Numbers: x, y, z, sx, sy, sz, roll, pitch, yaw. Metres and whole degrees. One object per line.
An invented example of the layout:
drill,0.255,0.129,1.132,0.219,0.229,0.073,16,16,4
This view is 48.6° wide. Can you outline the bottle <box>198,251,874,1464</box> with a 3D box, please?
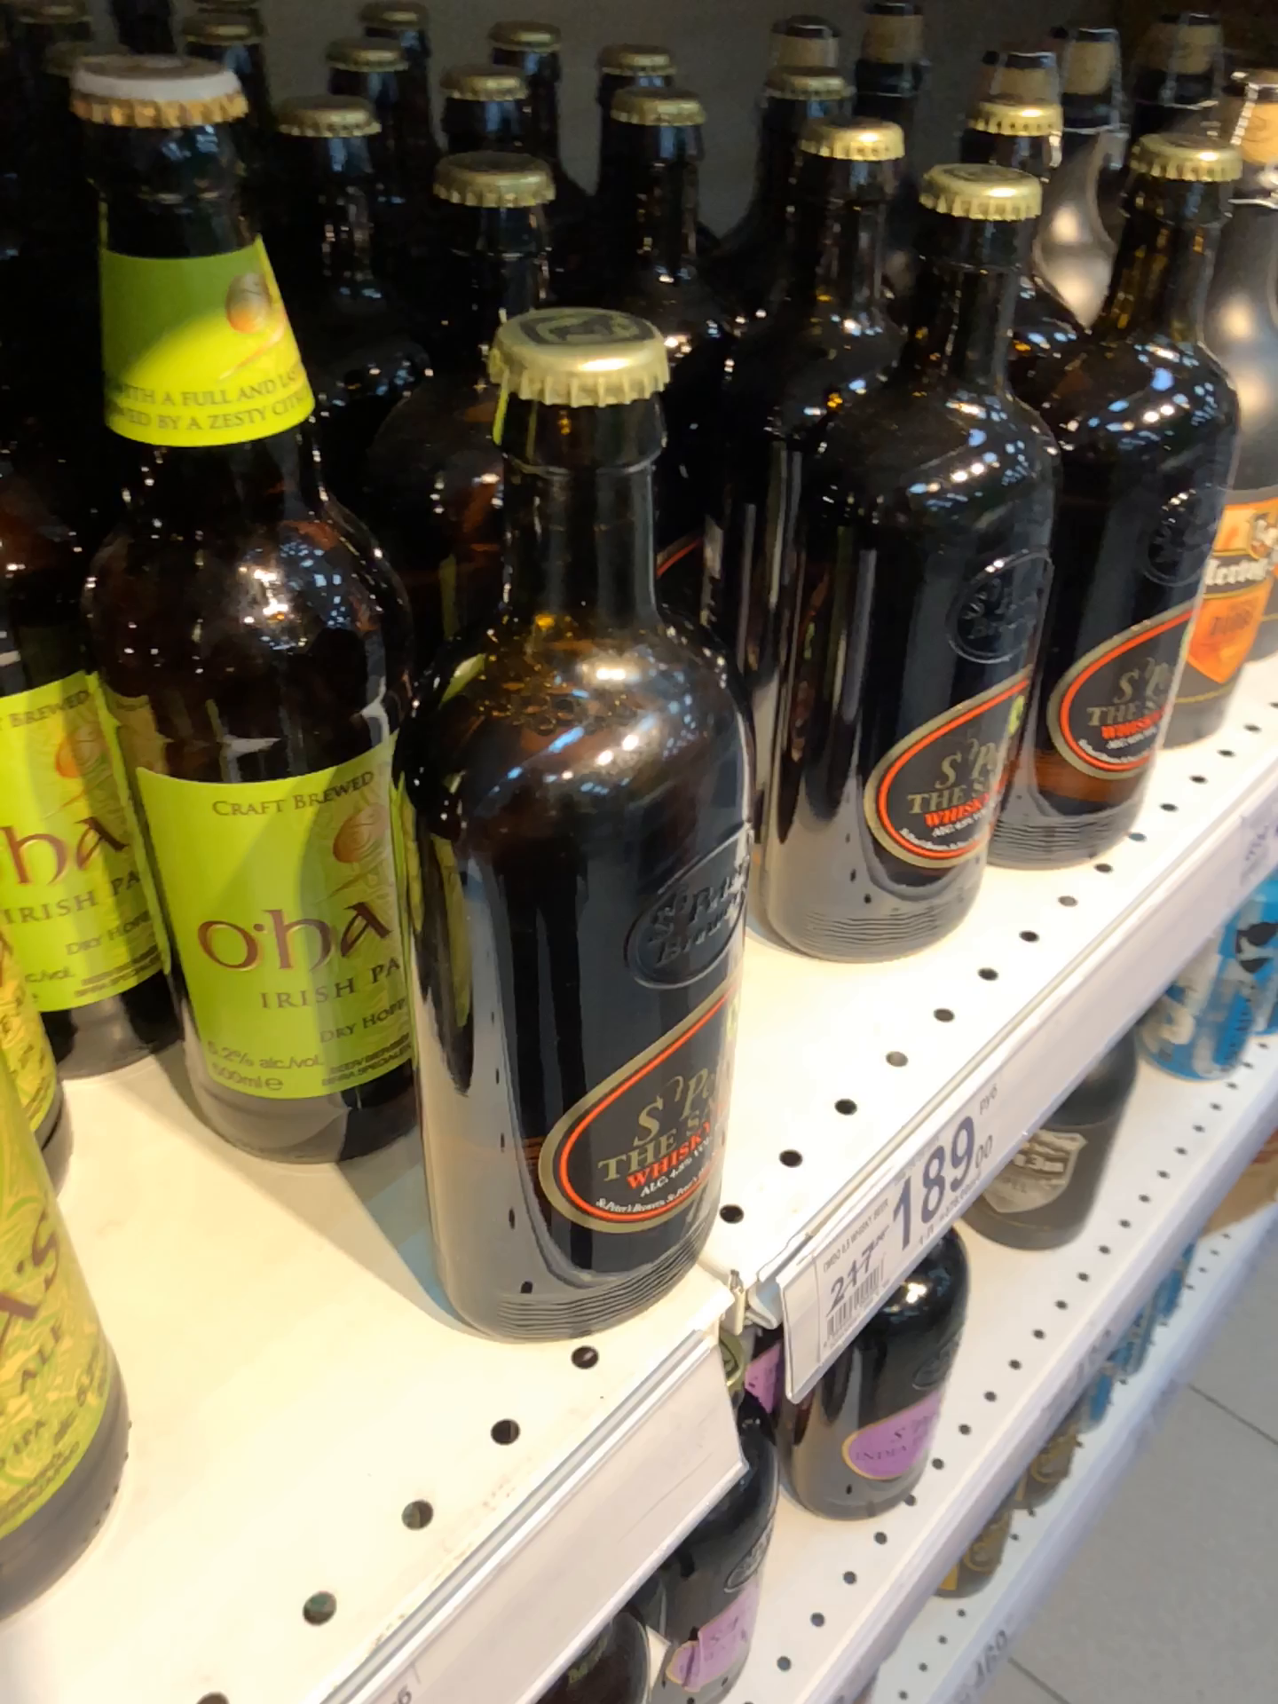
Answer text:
bottle,-0.016,0.011,0.289,0.060,0.229,0.090,28,44,31
